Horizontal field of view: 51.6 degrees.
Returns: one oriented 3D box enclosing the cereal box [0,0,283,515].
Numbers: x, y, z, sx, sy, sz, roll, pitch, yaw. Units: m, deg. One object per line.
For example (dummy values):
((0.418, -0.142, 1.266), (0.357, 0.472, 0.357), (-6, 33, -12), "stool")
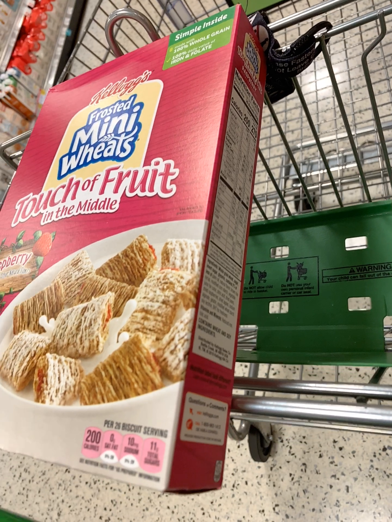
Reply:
((-0.054, -0.023, 0.275), (0.201, 0.050, 0.291), (-6, 63, 31), "cereal box")
